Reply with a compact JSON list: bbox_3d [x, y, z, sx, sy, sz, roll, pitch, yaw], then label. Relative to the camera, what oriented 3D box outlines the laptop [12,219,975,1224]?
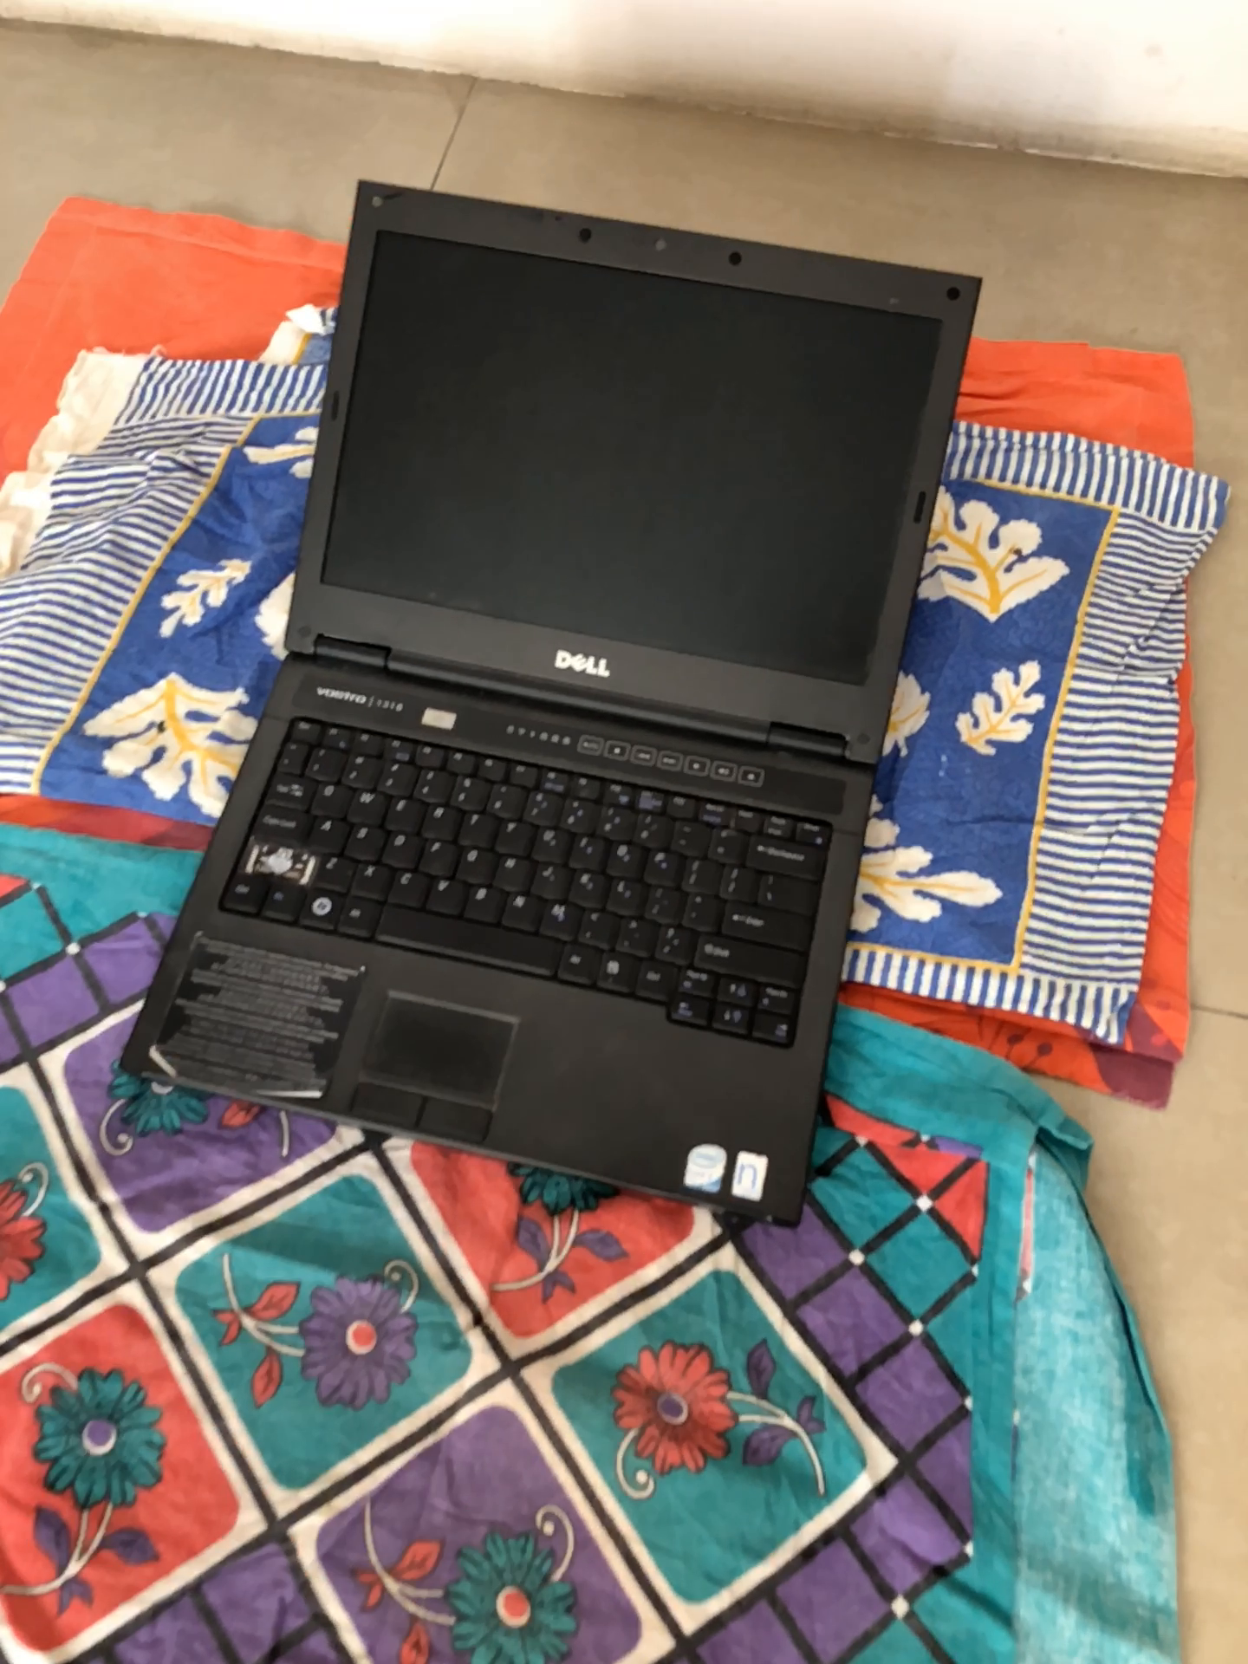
[{"bbox_3d":[-0.027,-0.072,0.636,0.305,0.125,0.421,12,63,7],"label":"laptop"}]
